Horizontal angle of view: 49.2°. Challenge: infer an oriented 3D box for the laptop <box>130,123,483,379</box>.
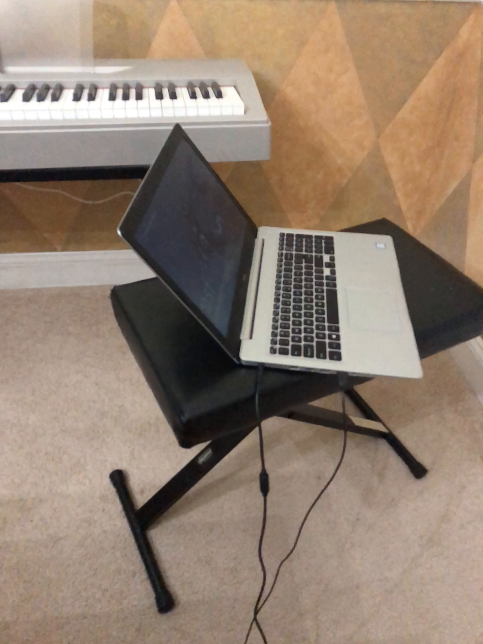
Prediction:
[{"bbox_3d":[0.088,-0.131,0.802,0.408,0.183,0.377,5,40,3],"label":"laptop"}]
